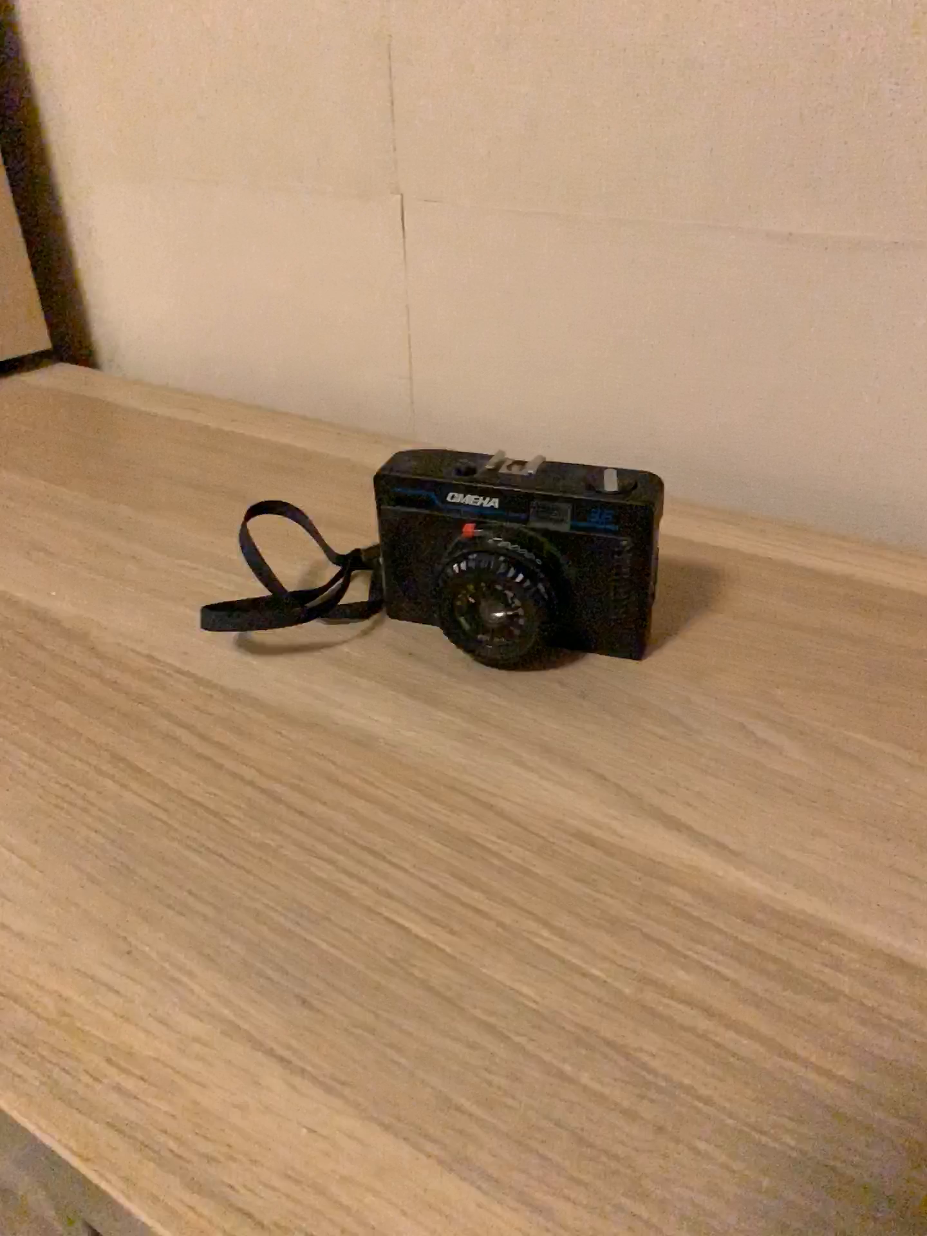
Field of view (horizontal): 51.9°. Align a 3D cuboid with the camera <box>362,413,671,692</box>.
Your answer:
[{"bbox_3d":[0.022,-0.028,0.387,0.110,0.089,0.040,10,38,18],"label":"camera"}]
